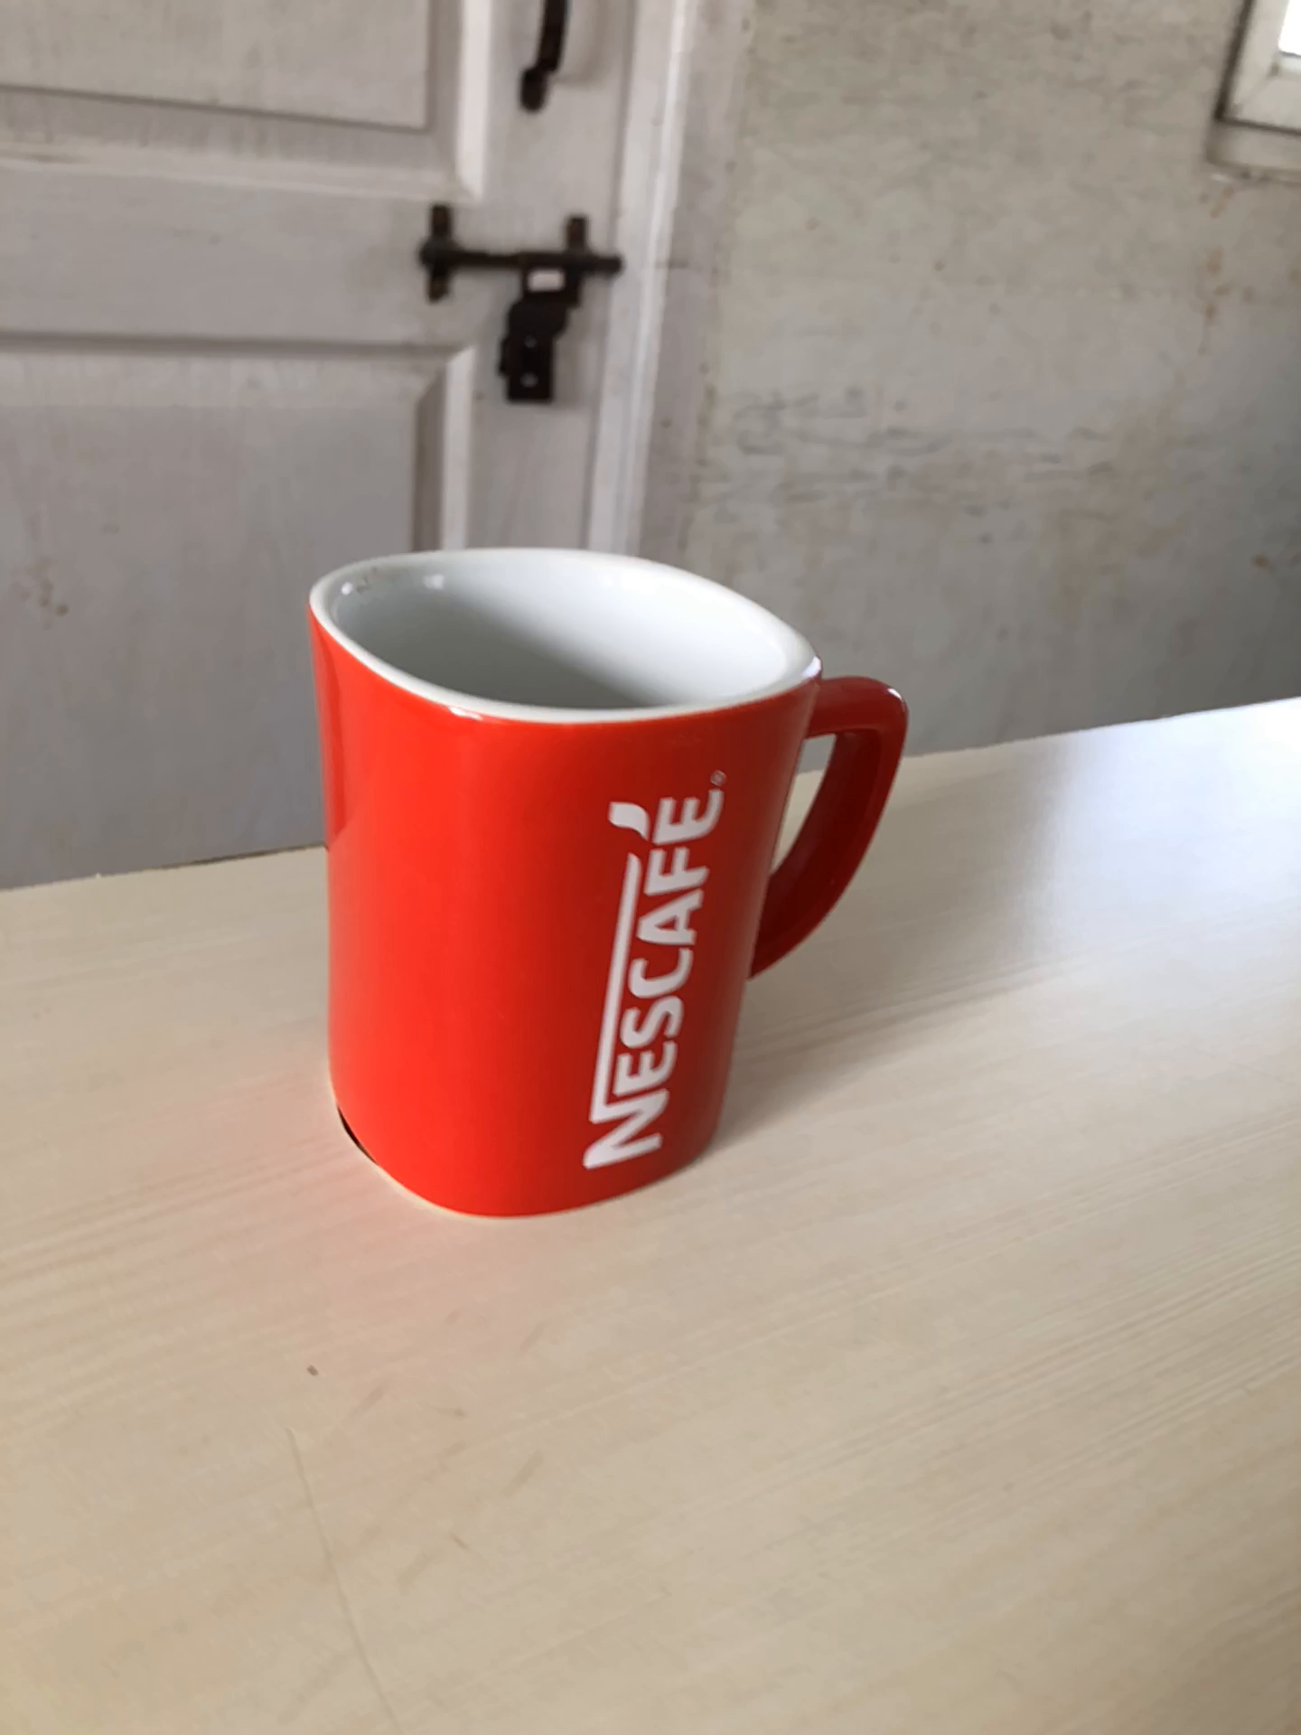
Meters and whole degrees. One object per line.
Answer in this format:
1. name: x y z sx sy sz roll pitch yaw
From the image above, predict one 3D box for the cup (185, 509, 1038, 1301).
1. cup: -0.011 -0.004 0.251 0.110 0.089 0.080 -12 33 -33
